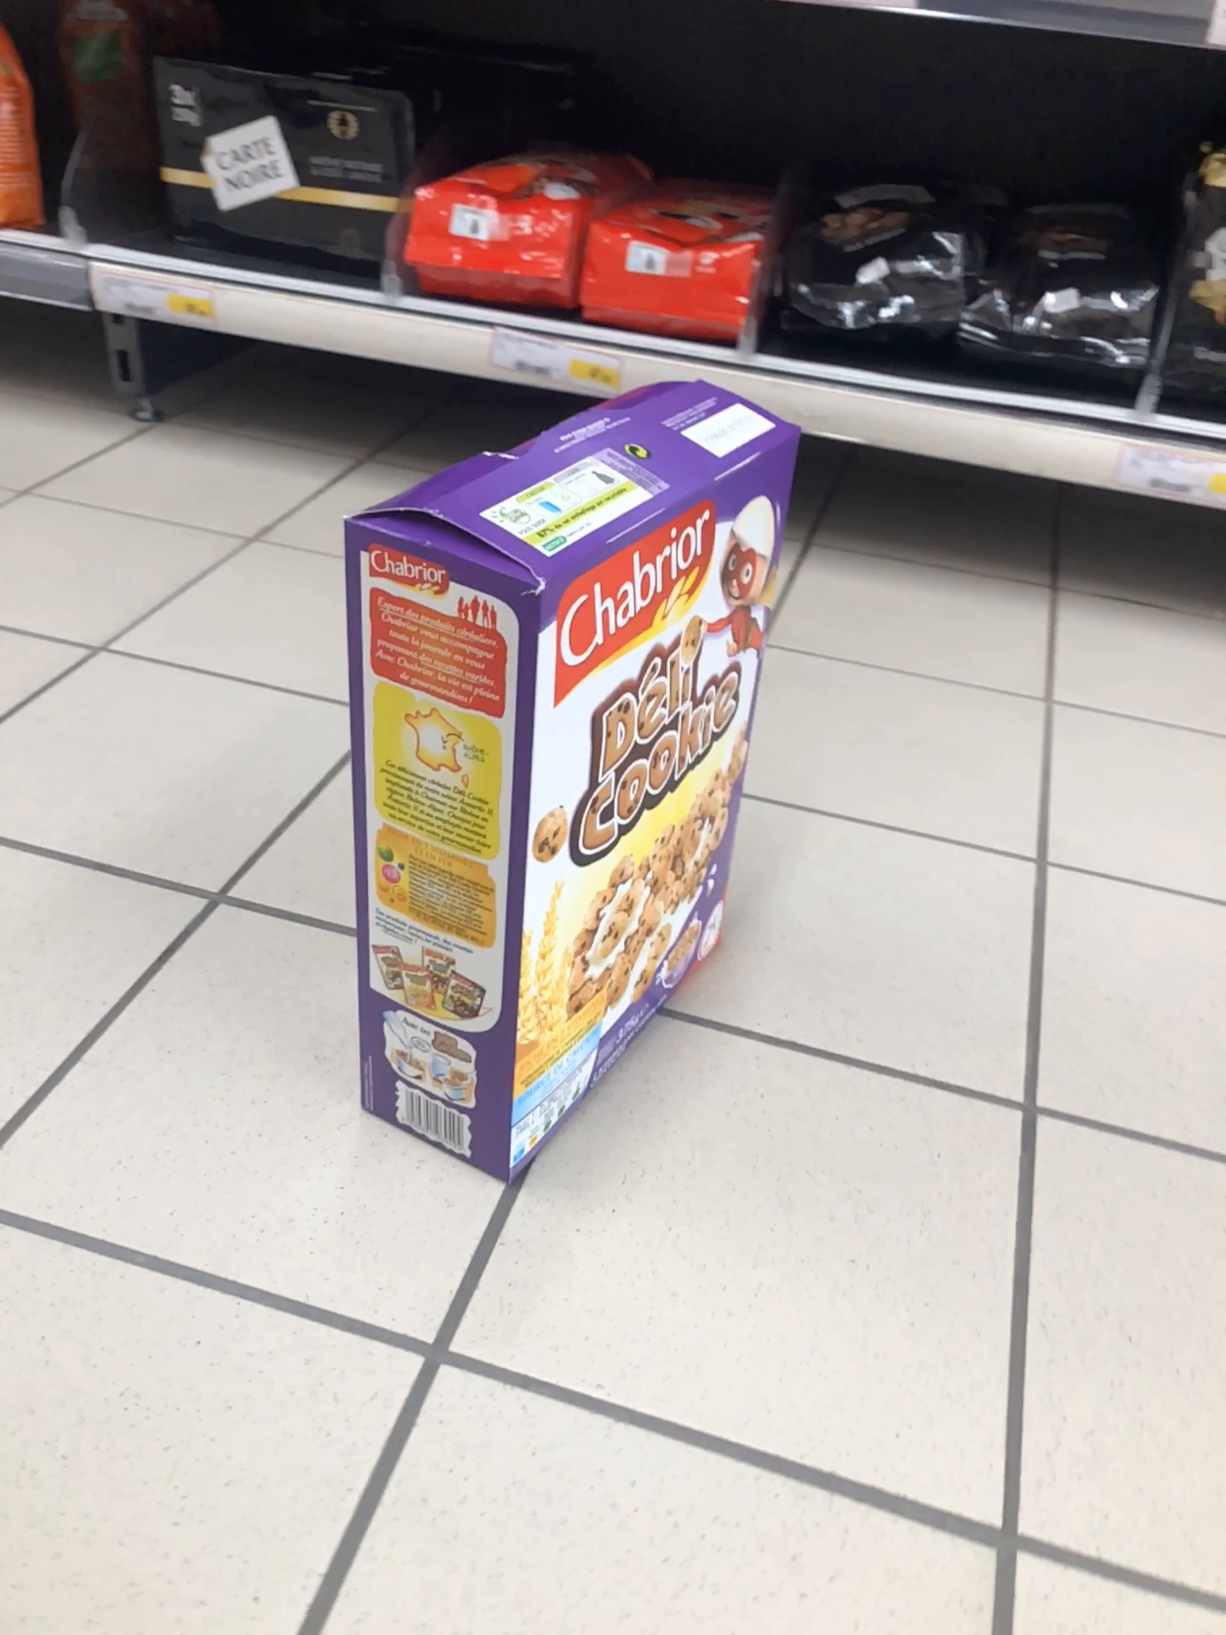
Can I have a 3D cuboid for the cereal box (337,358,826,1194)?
[{"bbox_3d":[-0.012,-0.022,0.548,0.080,0.268,0.201,21,36,22],"label":"cereal box"}]
